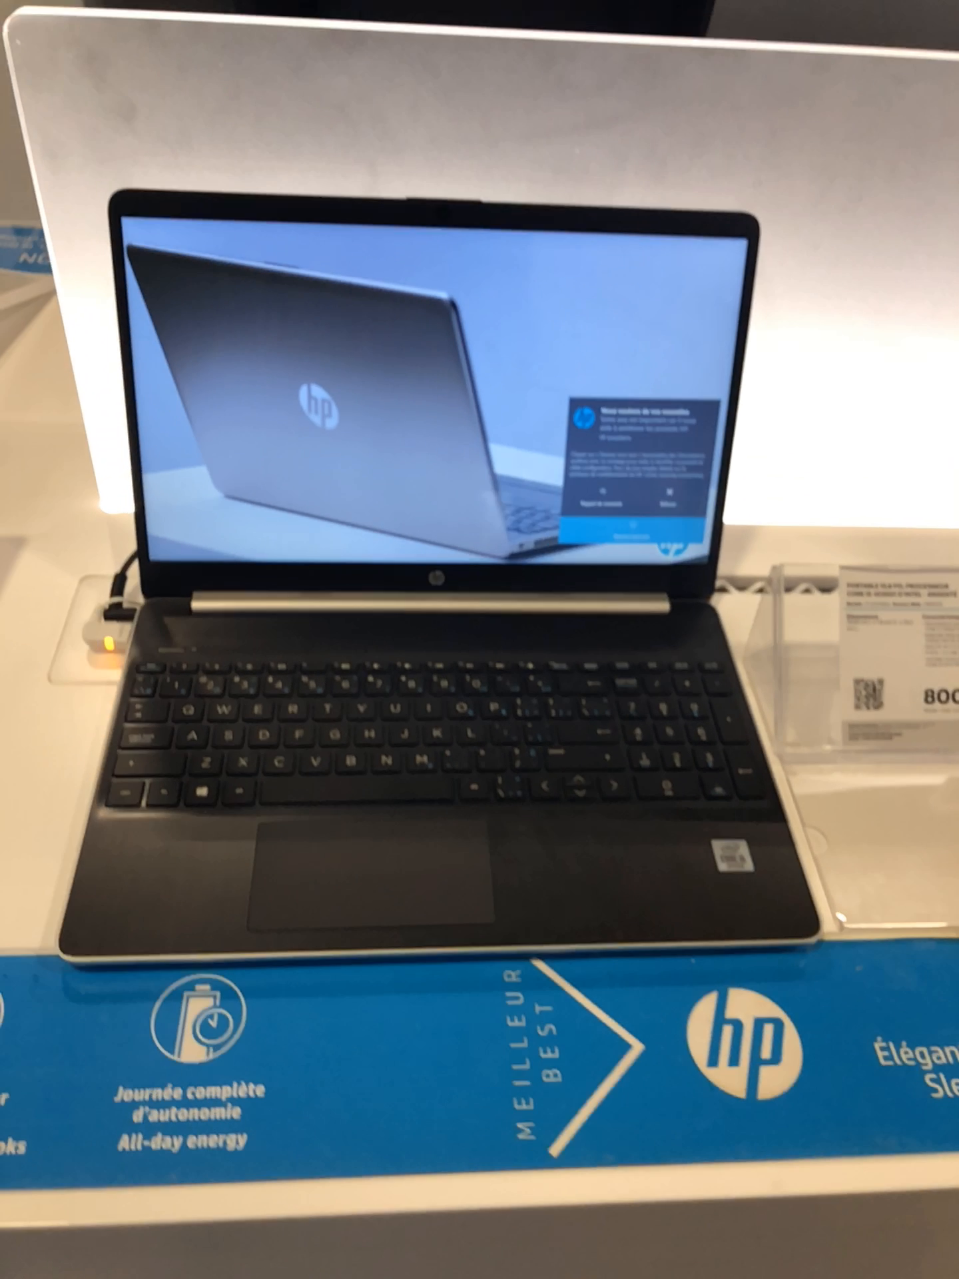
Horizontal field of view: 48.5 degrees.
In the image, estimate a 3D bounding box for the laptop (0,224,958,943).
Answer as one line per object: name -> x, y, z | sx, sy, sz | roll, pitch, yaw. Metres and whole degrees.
laptop -> -0.011, -0.042, 0.528 | 0.336, 0.206, 0.317 | 1, 41, -4
